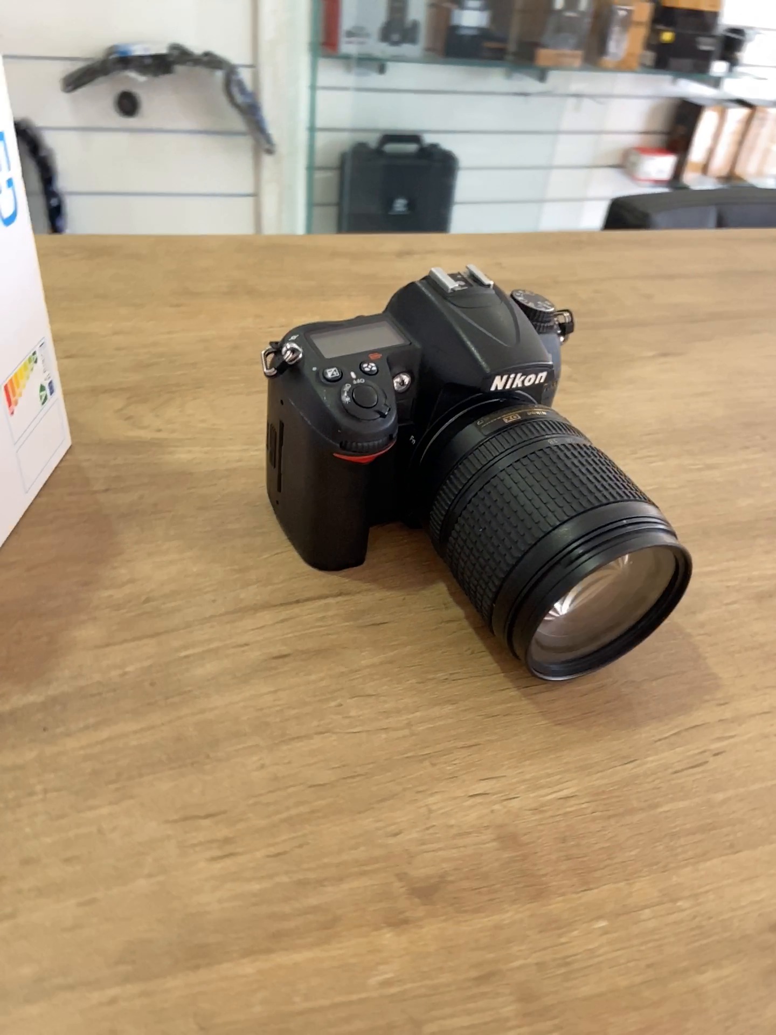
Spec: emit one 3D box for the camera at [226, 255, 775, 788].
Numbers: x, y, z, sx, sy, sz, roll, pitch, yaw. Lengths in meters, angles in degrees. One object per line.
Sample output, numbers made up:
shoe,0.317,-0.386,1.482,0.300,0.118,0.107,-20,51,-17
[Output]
camera,0.034,-0.016,0.310,0.140,0.099,0.161,-16,44,-26
